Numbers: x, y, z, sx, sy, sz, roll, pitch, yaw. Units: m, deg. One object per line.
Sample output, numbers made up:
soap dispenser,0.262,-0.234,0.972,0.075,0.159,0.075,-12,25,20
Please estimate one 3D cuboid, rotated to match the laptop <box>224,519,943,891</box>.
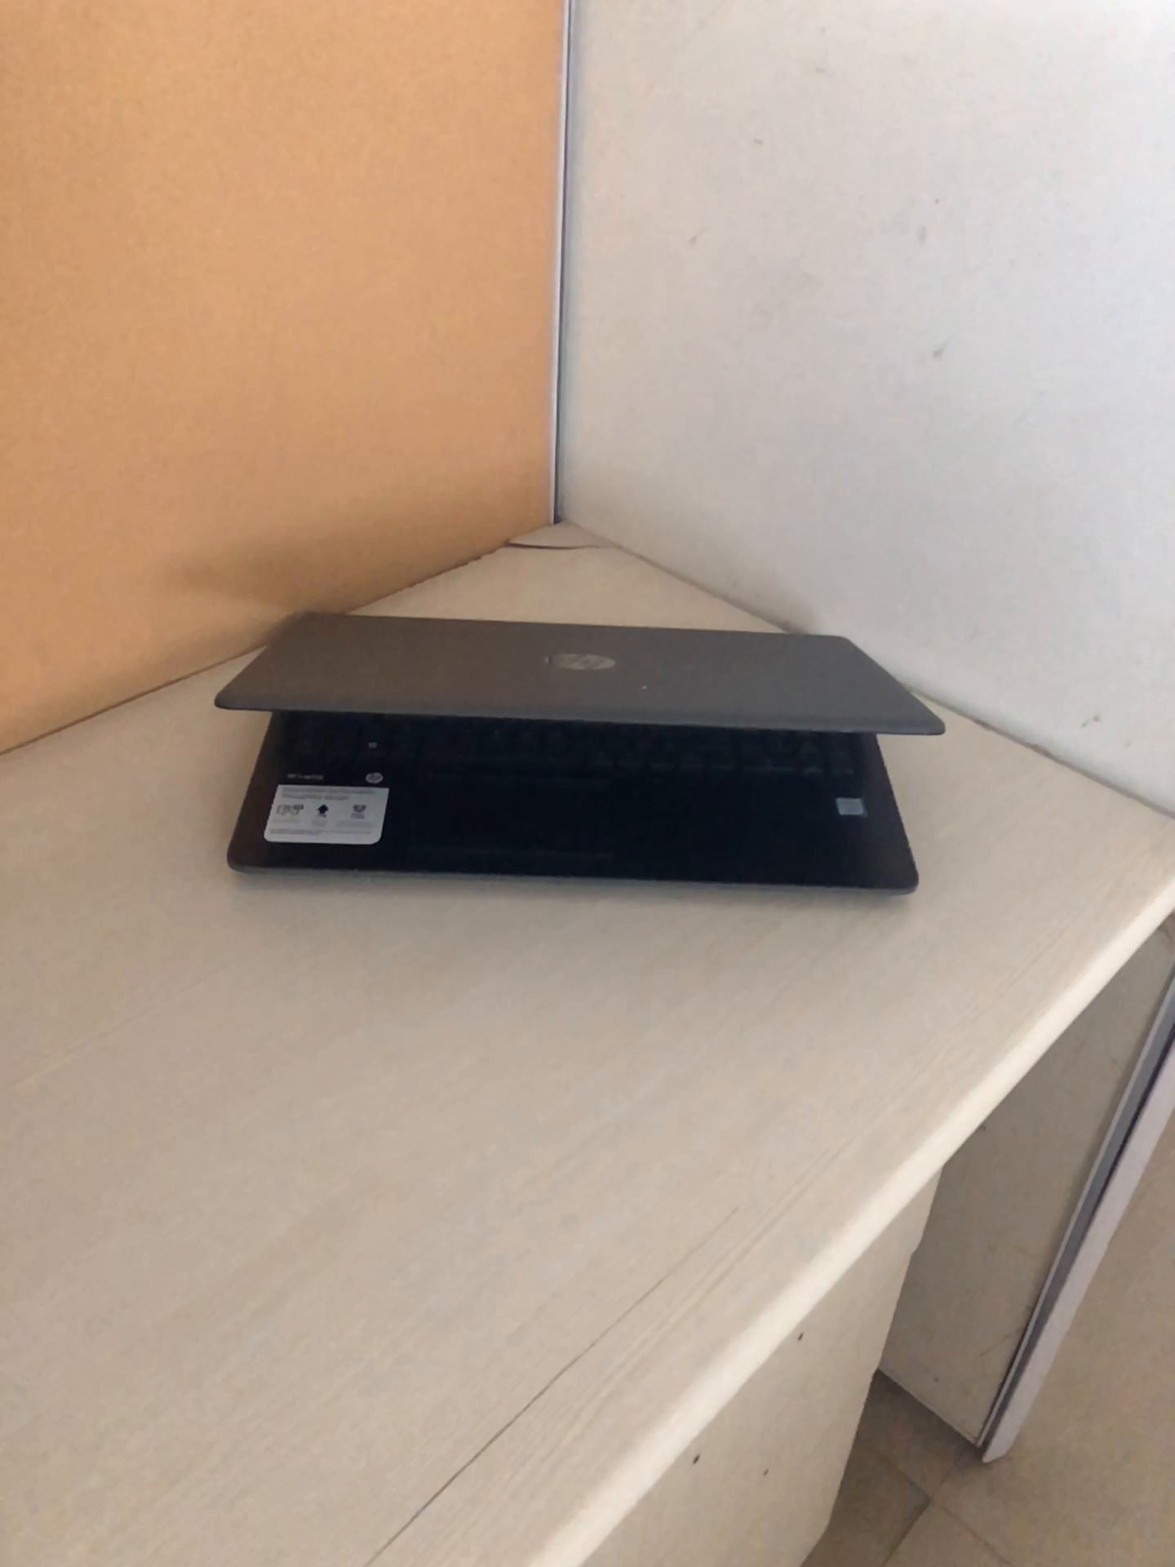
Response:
laptop,-0.004,-0.056,0.762,0.361,0.074,0.239,2,40,-2
